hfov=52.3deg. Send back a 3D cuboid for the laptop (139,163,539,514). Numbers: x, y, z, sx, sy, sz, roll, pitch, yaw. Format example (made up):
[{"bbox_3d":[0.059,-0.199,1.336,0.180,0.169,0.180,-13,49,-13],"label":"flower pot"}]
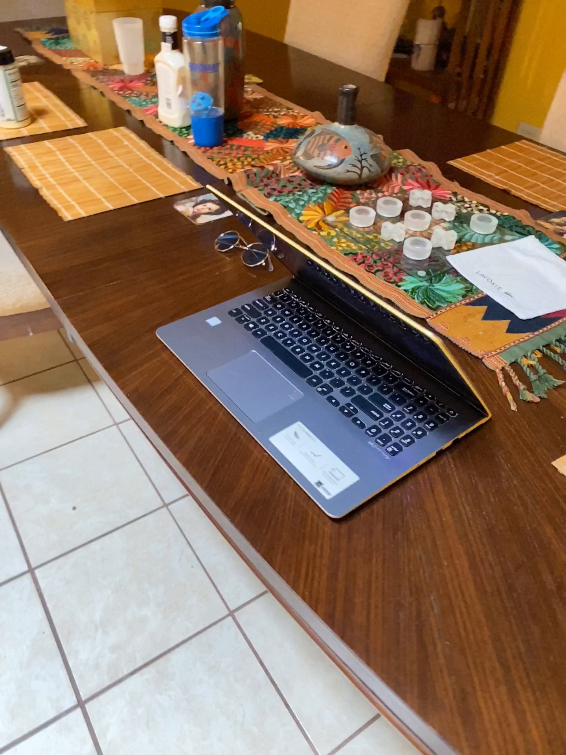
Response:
[{"bbox_3d":[0.042,-0.080,0.696,0.251,0.181,0.377,-26,50,-29],"label":"laptop"}]
